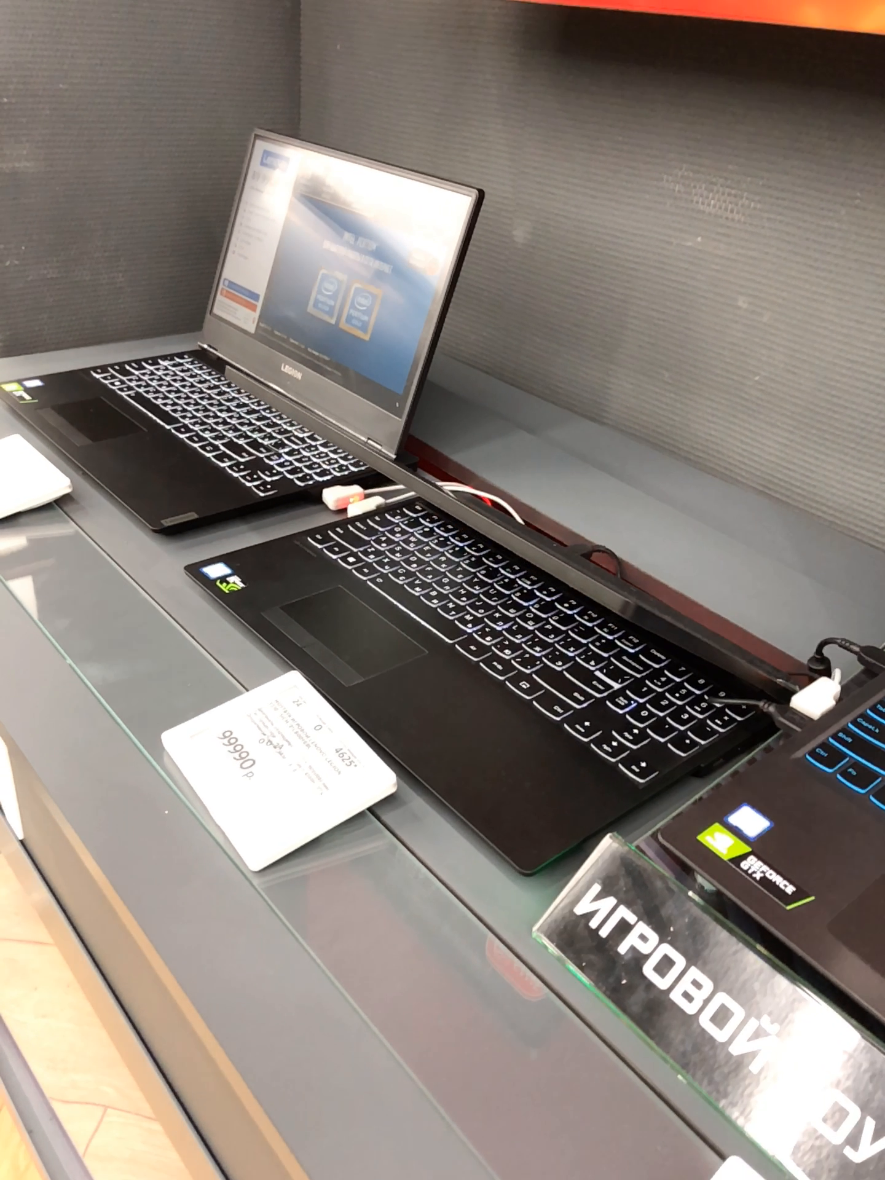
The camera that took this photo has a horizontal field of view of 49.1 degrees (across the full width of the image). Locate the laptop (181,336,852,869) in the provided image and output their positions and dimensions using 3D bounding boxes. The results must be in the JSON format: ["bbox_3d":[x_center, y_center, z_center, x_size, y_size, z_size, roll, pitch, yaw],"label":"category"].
[{"bbox_3d":[0.023,-0.032,0.621,0.228,0.136,0.354,-20,39,-35],"label":"laptop"}]

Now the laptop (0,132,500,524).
[{"bbox_3d":[-0.208,-0.269,0.896,0.308,0.231,0.365,-20,38,-34],"label":"laptop"}]
